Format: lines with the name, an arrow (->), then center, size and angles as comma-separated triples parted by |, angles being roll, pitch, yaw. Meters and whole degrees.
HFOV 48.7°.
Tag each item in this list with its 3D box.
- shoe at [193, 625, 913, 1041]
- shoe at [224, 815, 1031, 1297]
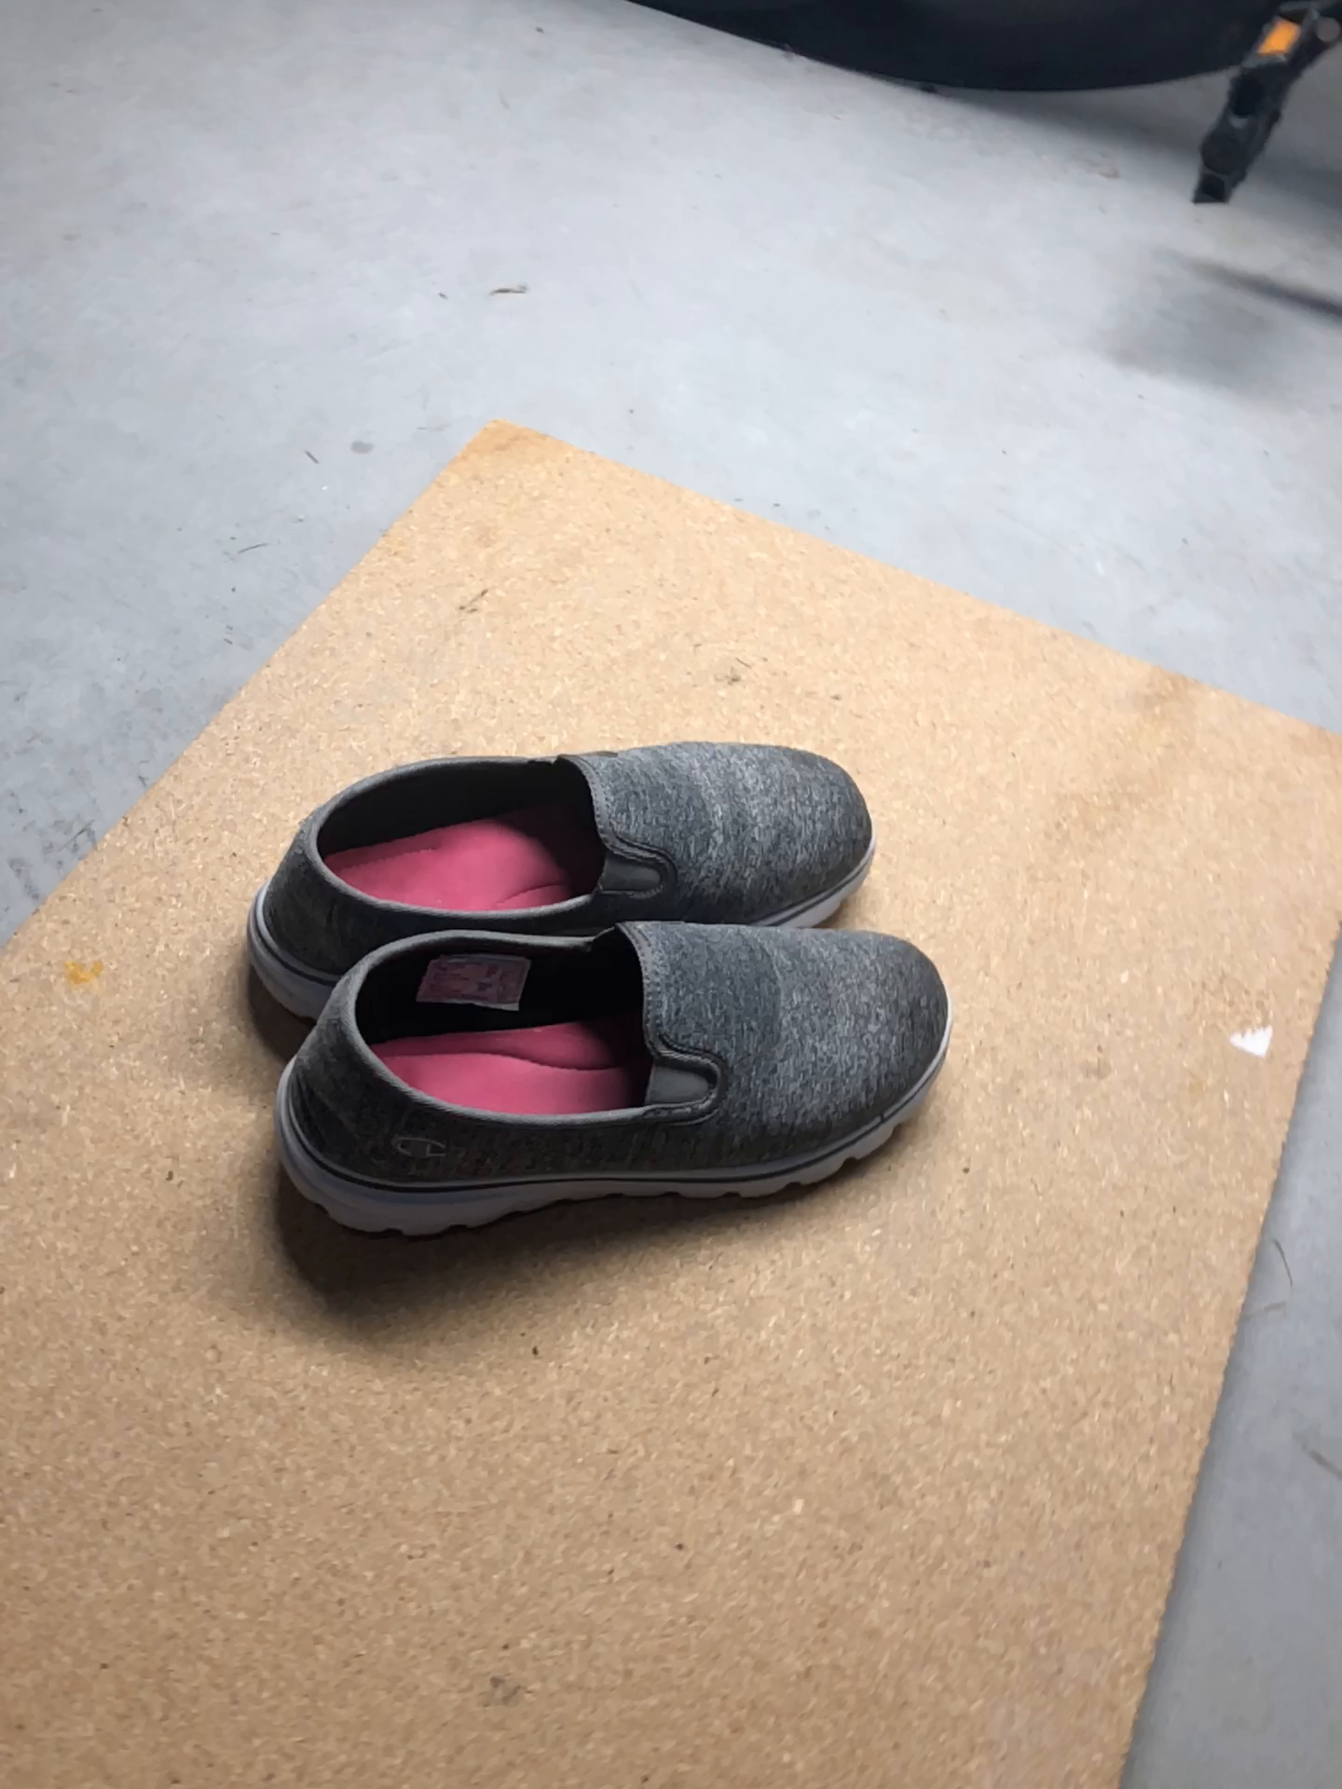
shoe -> -0.047, -0.028, 0.578 | 0.250, 0.073, 0.100 | -10, 55, -13
shoe -> -0.017, 0.052, 0.517 | 0.250, 0.070, 0.100 | -10, 55, -13
